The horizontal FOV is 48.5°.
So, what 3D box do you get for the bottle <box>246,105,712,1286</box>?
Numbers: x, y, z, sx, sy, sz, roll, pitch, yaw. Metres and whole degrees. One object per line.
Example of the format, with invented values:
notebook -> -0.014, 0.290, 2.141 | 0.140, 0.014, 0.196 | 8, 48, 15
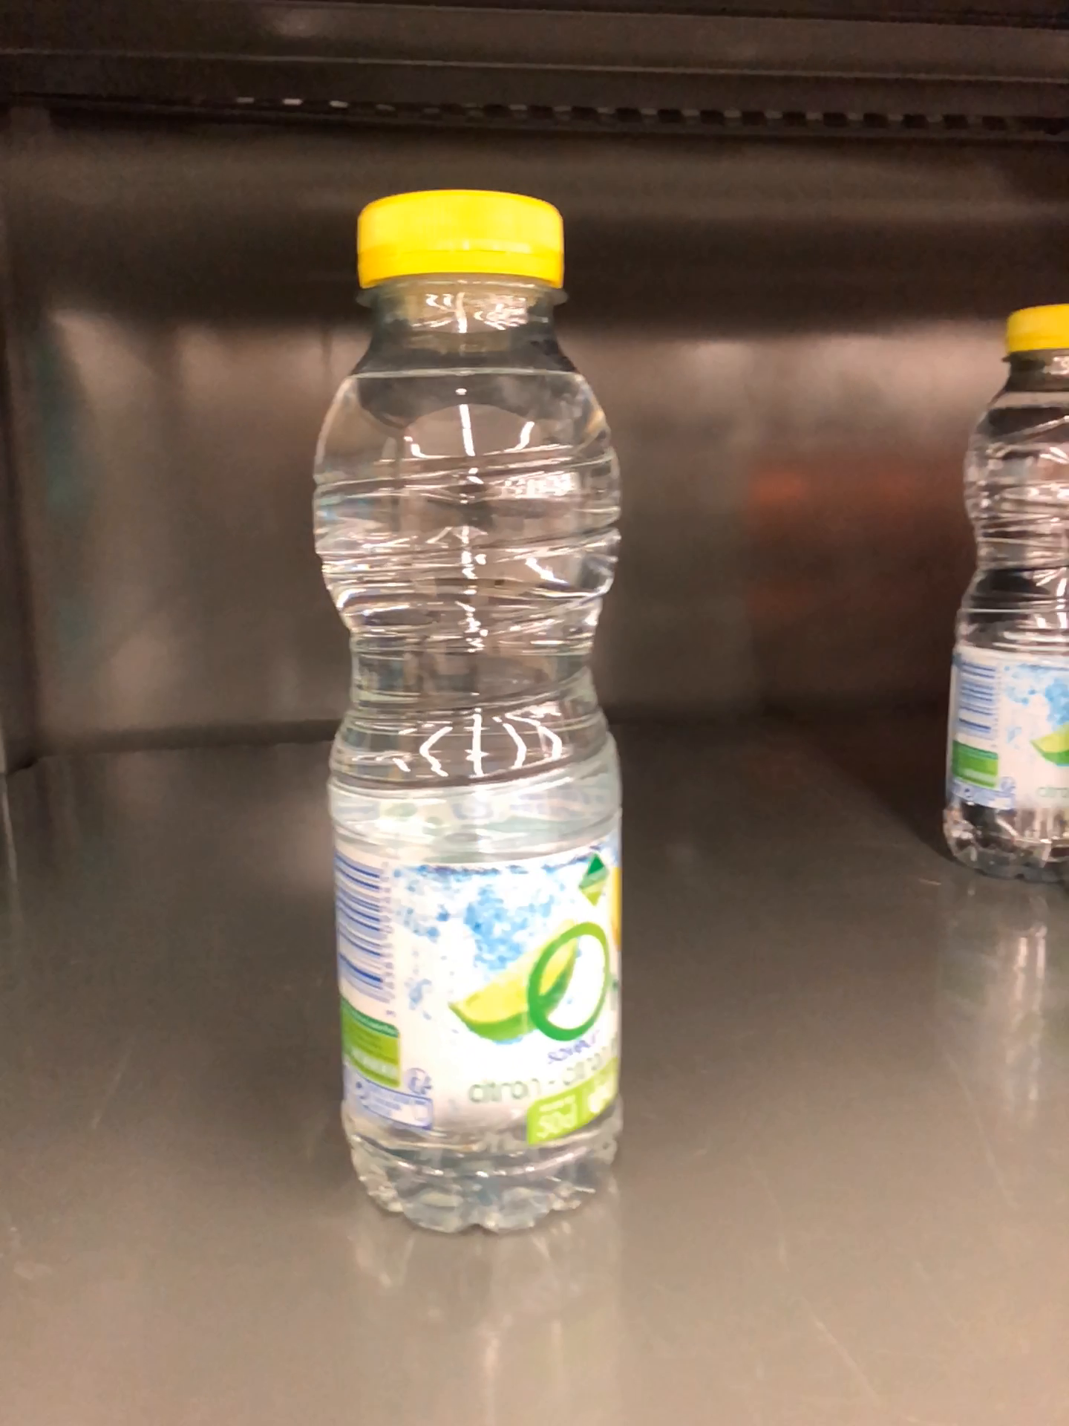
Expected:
bottle -> -0.009, -0.003, 0.253 | 0.070, 0.209, 0.060 | -10, 13, -41
